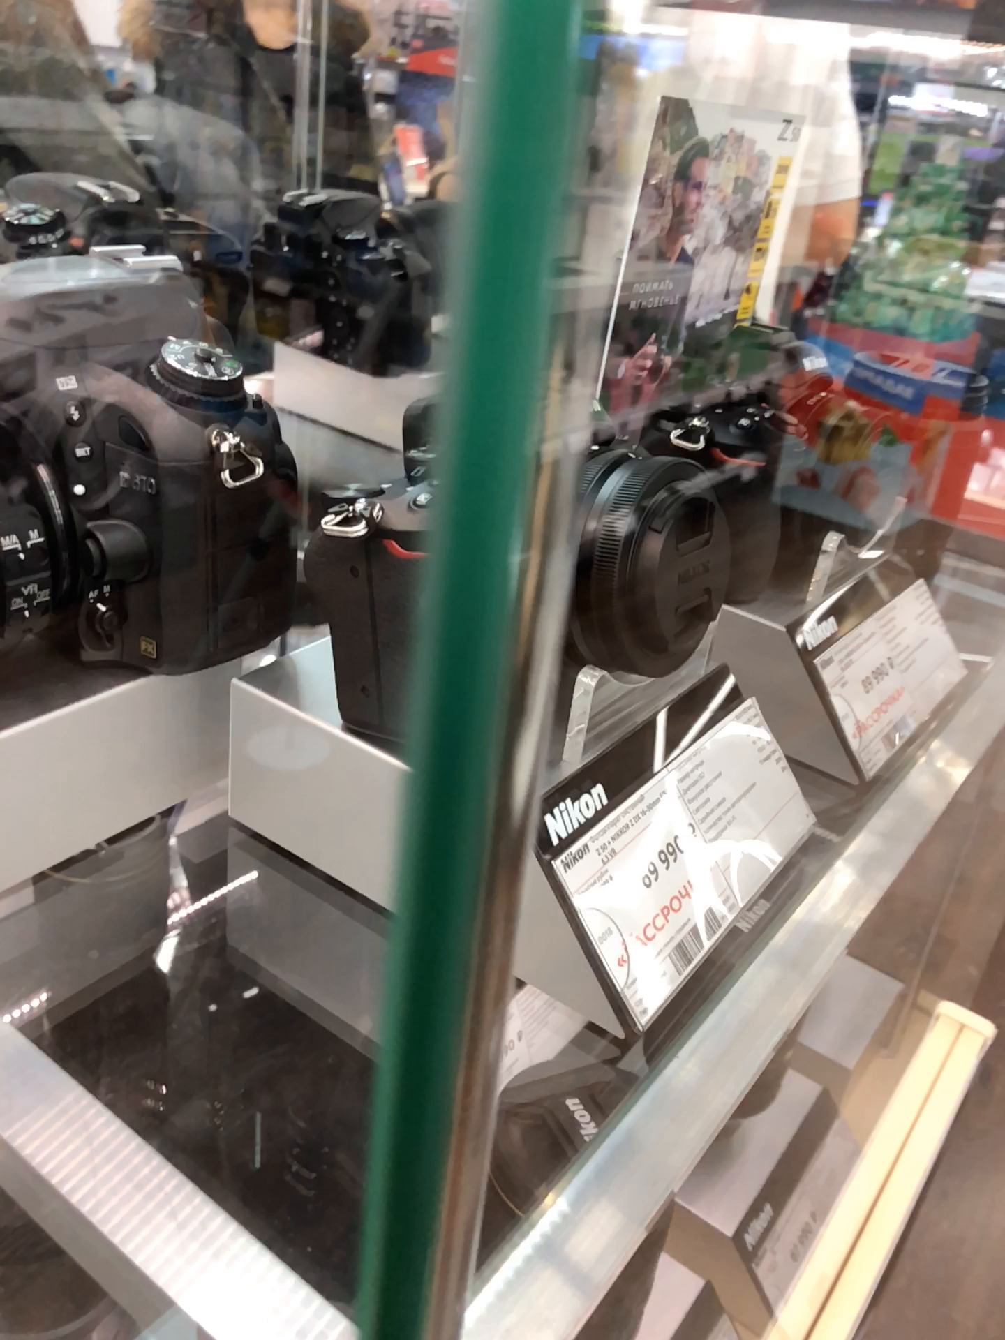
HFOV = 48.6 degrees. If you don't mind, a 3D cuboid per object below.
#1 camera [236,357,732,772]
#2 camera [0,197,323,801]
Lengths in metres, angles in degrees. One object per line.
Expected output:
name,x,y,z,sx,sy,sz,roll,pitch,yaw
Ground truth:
camera,0.001,-0.044,0.348,0.090,0.092,0.127,12,25,34
camera,-0.157,-0.062,0.325,0.129,0.112,0.150,26,29,31
